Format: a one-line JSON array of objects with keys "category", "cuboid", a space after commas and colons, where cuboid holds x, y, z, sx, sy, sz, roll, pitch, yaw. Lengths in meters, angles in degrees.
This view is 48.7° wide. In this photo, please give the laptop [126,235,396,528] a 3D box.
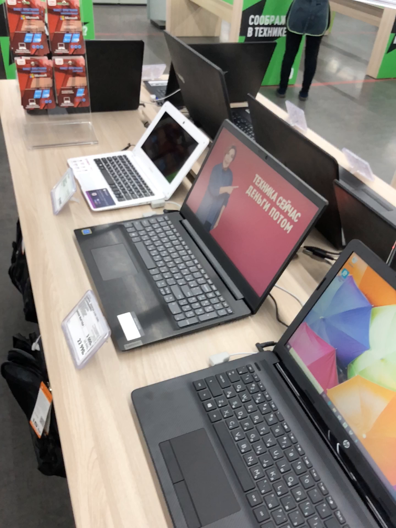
[{"category": "laptop", "cuboid": [0.128, 0.183, 0.477, 0.321, 0.206, 0.376, -11, 40, -19]}]

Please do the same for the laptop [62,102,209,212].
[{"category": "laptop", "cuboid": [-0.168, -0.289, 1.125, 0.289, 0.139, 0.280, -13, 41, -21]}]

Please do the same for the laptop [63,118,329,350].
[{"category": "laptop", "cuboid": [-0.031, -0.087, 0.815, 0.340, 0.212, 0.356, -13, 42, -21]}]
